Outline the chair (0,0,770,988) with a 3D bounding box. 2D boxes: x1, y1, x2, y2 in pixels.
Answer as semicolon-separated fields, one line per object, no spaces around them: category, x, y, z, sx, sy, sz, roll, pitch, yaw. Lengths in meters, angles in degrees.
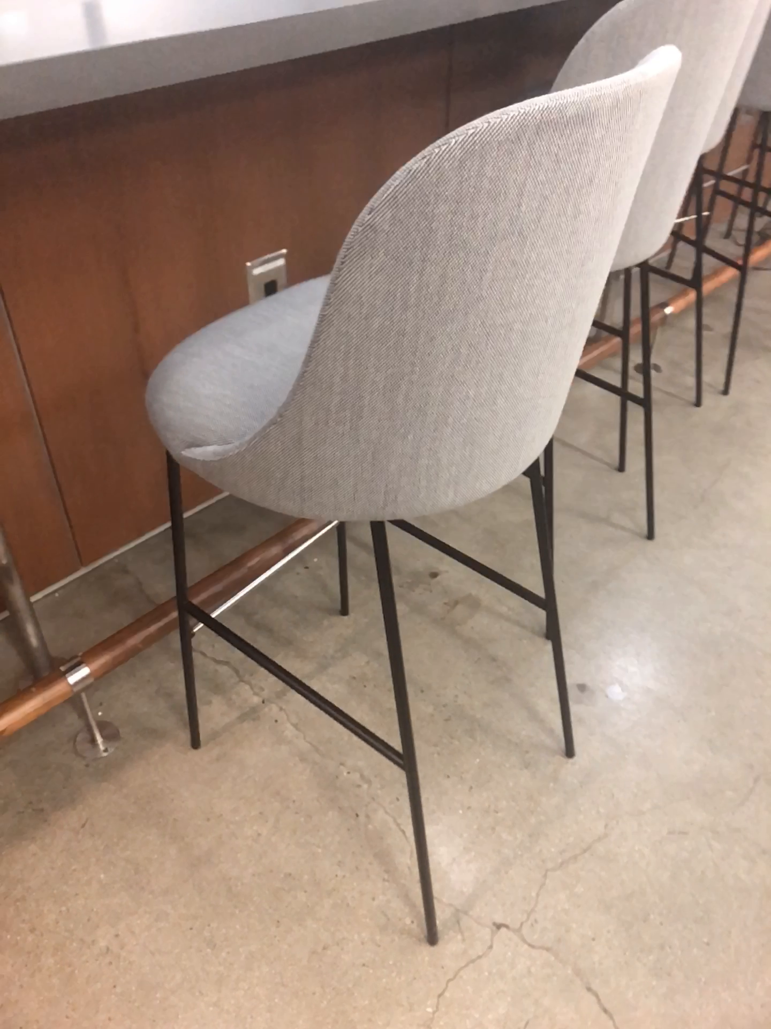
chair;-0.021;-0.036;1.105;0.631;1.090;0.514;29;47;29
